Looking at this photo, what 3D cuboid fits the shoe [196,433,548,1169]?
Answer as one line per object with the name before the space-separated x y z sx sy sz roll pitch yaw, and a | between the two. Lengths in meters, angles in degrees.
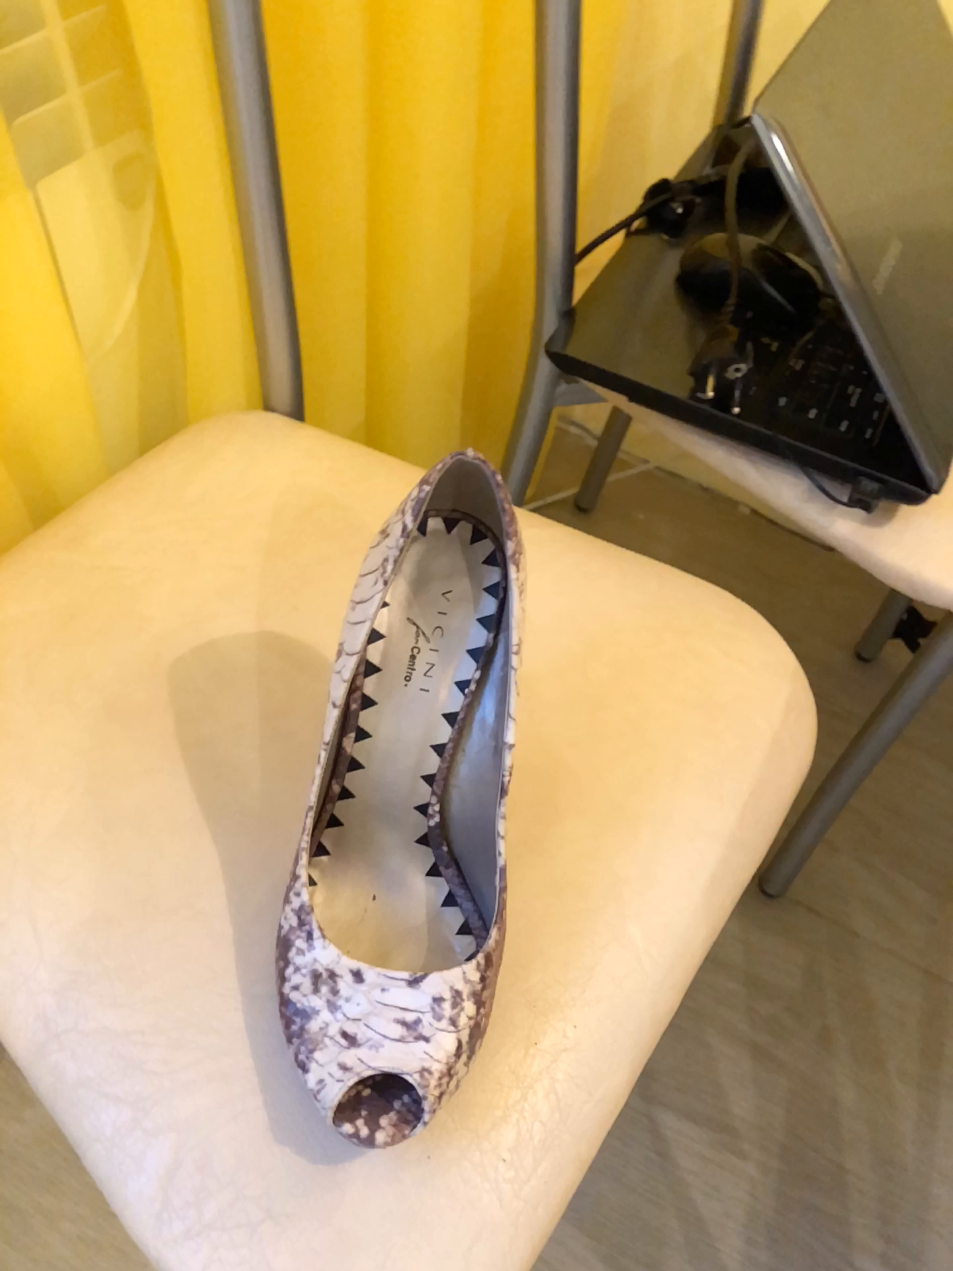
shoe | -0.027 0.052 0.354 0.080 0.129 0.201 6 51 -4
